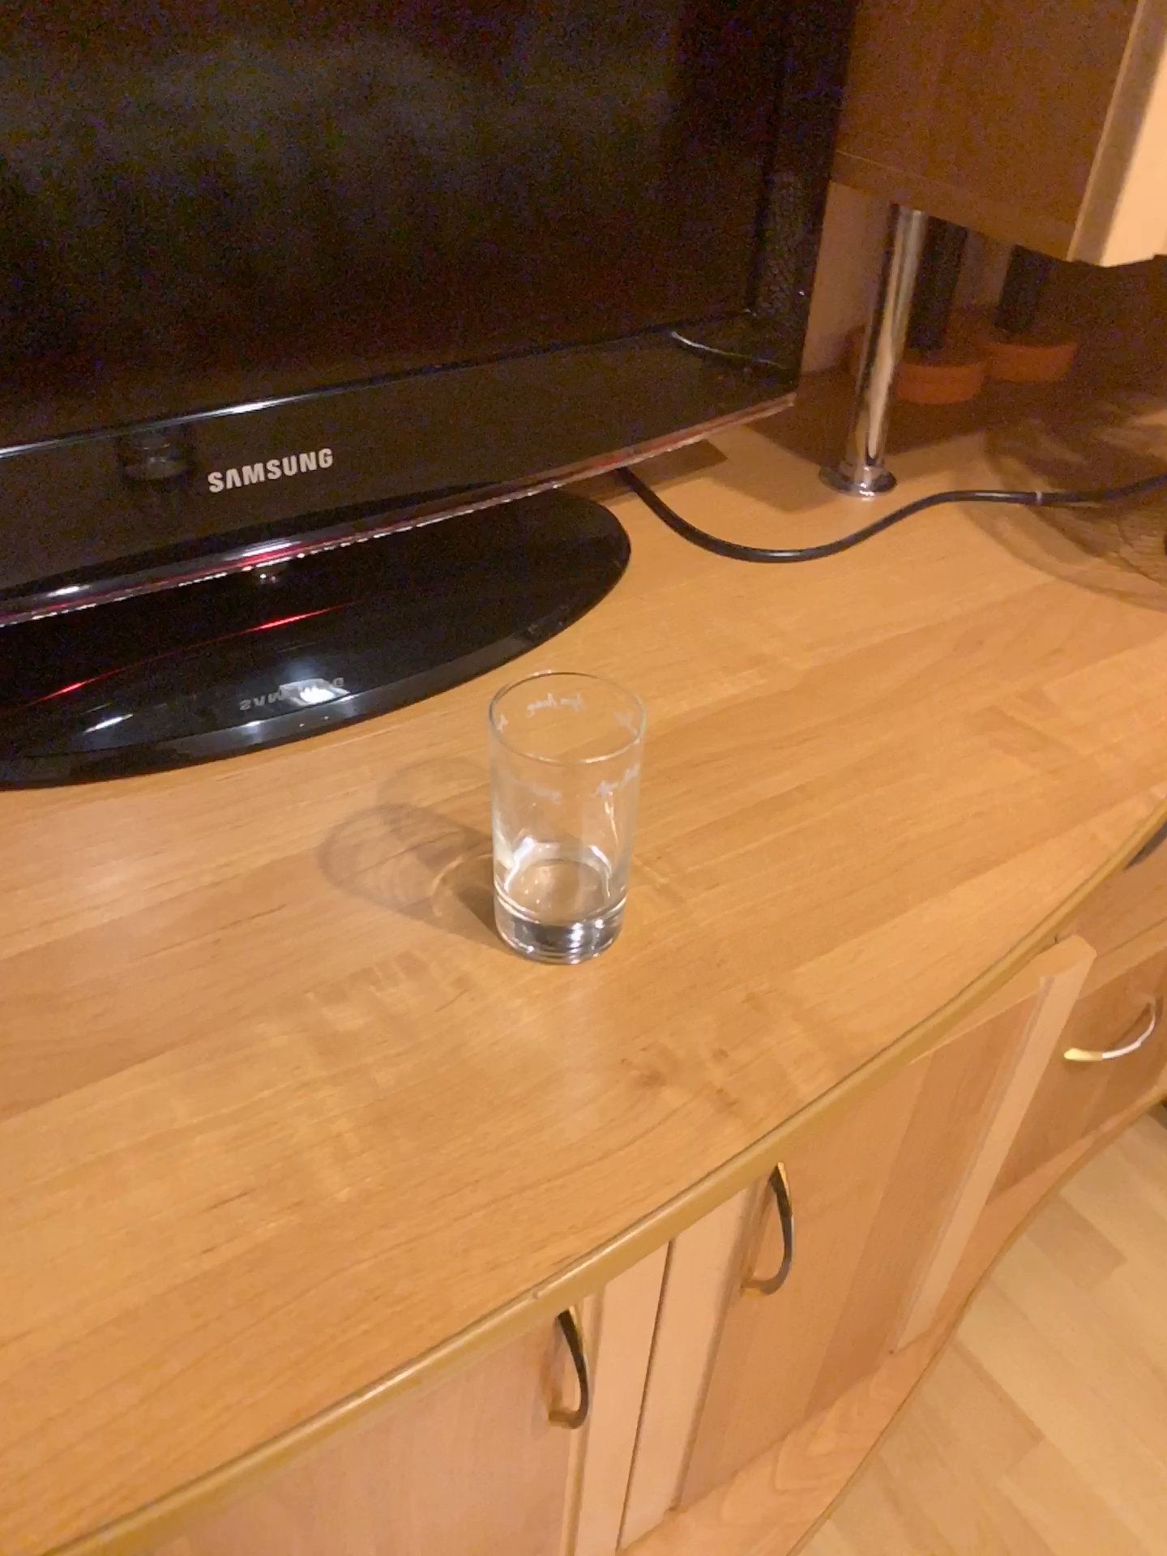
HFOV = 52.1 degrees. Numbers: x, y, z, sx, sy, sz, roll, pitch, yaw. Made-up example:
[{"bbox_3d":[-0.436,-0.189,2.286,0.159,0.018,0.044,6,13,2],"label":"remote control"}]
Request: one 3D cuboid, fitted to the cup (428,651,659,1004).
[{"bbox_3d":[-0.014,0.018,0.428,0.060,0.099,0.061,2,38,-1],"label":"cup"}]
